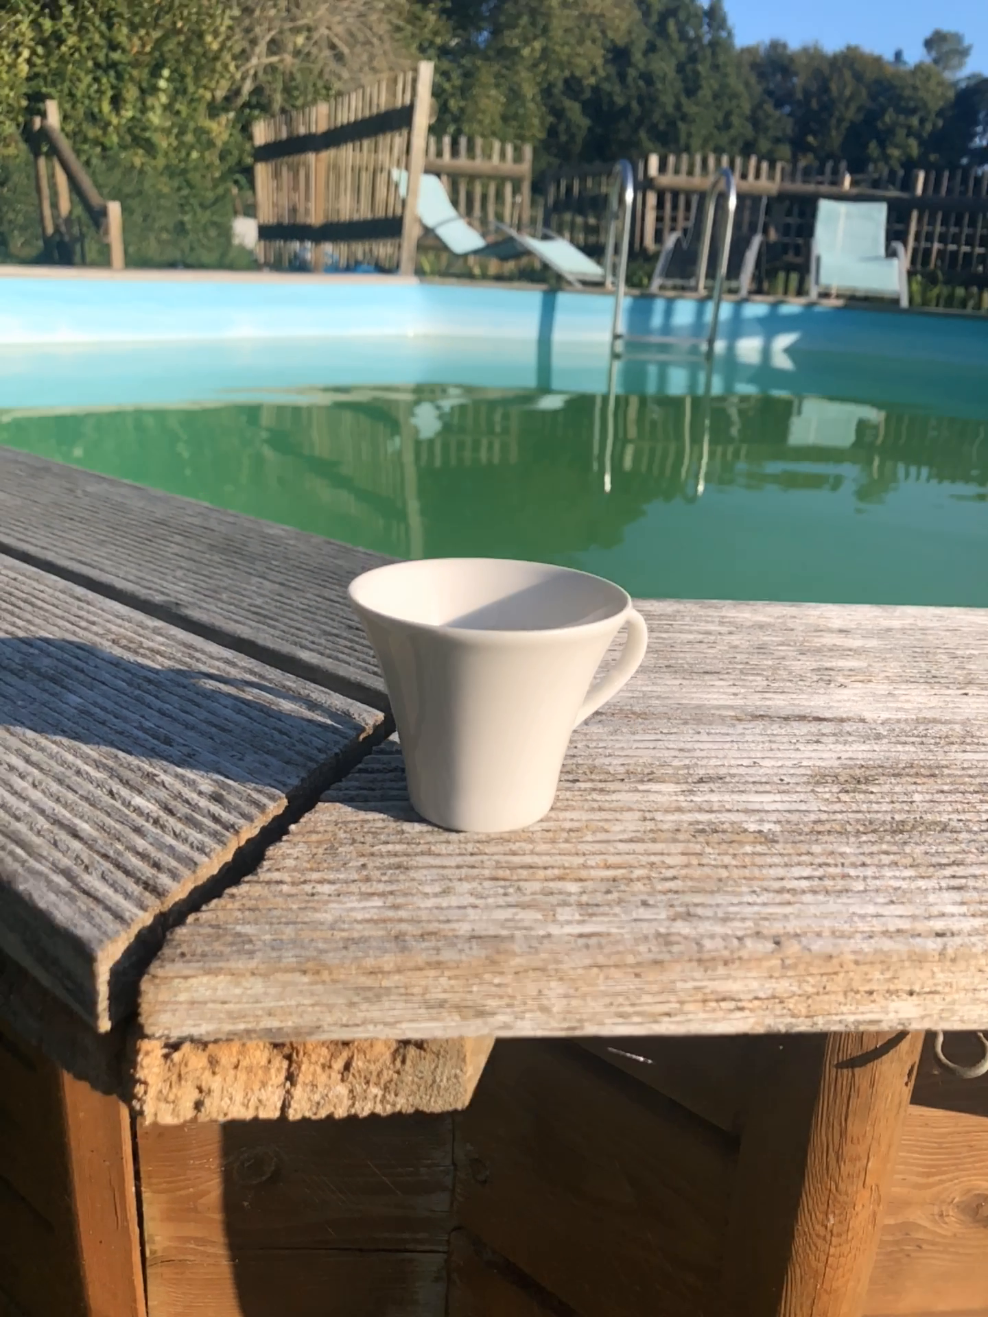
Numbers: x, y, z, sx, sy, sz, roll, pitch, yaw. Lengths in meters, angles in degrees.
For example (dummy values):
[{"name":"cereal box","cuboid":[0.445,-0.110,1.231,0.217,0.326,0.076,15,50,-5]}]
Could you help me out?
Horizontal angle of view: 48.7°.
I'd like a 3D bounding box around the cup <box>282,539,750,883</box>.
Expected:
[{"name":"cup","cuboid":[0.004,0.007,0.295,0.097,0.053,0.076,-11,24,-34]}]
